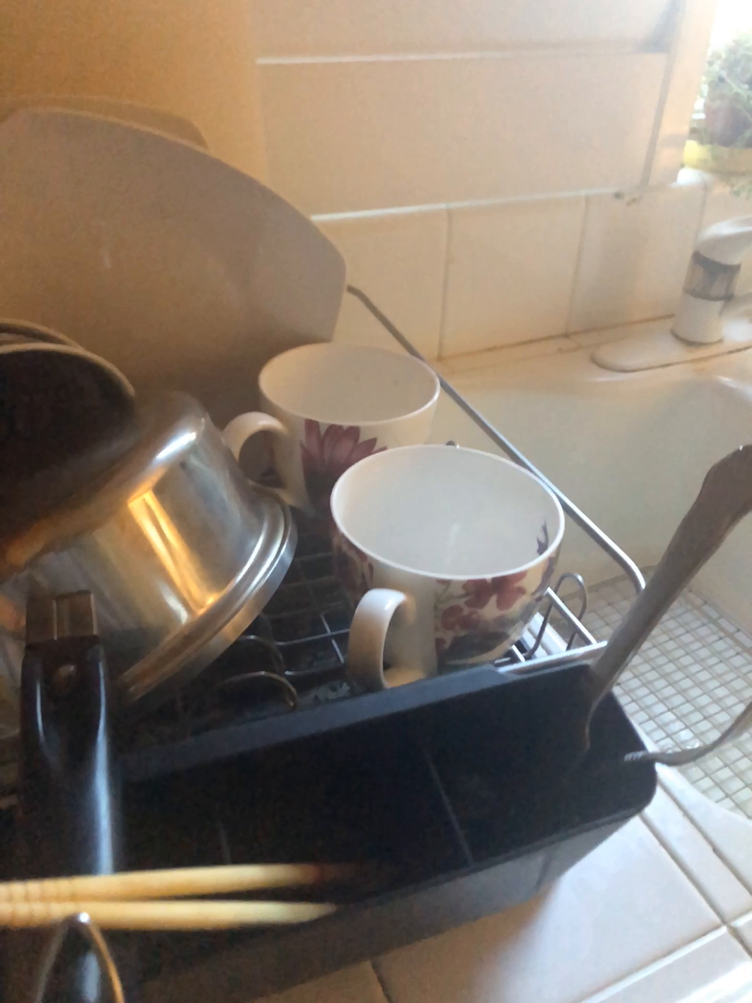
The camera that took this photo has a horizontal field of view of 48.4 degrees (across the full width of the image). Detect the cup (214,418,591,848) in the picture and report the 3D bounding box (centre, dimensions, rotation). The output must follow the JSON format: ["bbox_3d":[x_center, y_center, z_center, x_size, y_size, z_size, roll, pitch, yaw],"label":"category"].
[{"bbox_3d":[0.020,0.048,0.394,0.110,0.089,0.161,17,38,20],"label":"cup"}]

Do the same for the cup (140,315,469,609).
[{"bbox_3d":[-0.039,-0.034,0.513,0.110,0.089,0.161,28,43,32],"label":"cup"}]
